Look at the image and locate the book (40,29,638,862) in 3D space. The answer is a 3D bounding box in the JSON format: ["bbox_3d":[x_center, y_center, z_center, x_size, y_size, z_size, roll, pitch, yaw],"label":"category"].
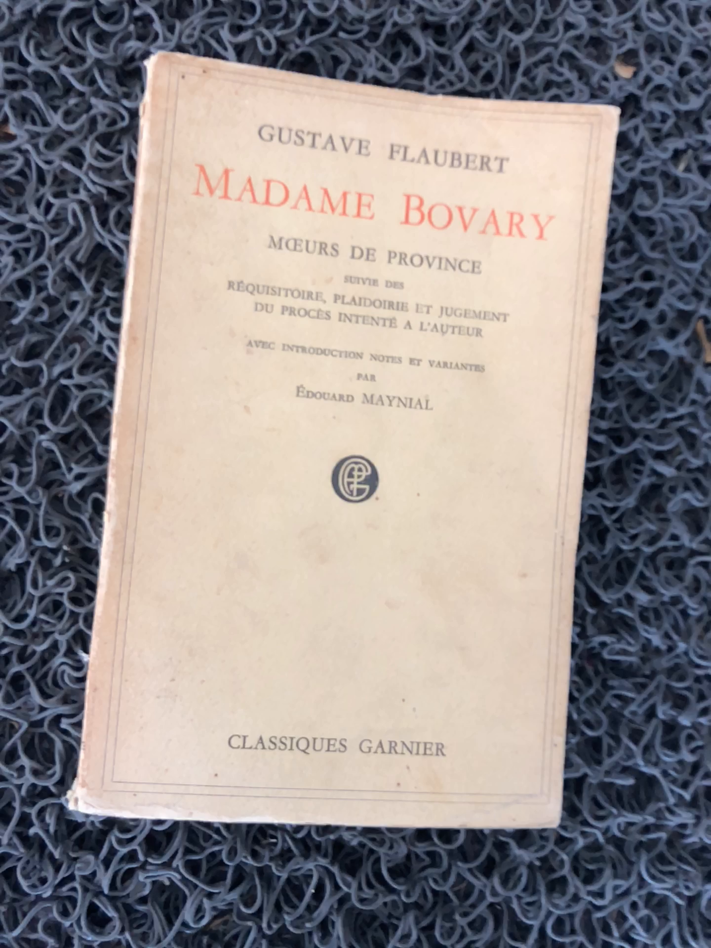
[{"bbox_3d":[0.000,-0.004,0.200,0.124,0.035,0.180,5,85,-9],"label":"book"}]
